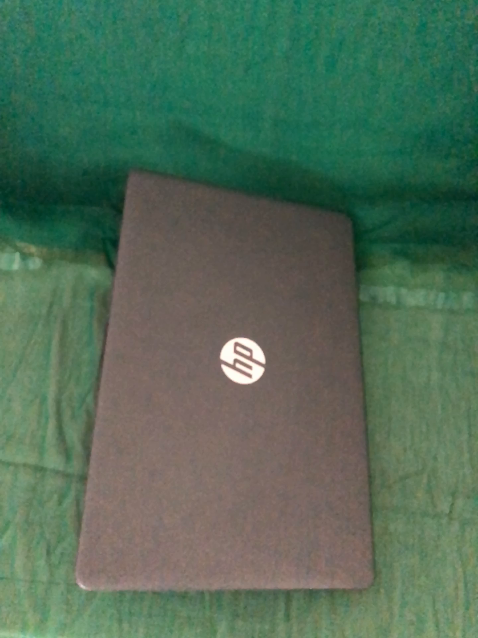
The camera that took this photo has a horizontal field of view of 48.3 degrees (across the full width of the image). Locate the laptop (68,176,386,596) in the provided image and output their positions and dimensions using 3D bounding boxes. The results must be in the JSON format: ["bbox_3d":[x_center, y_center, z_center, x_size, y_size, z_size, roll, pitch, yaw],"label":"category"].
[{"bbox_3d":[-0.002,0.044,0.490,0.231,0.067,0.360,4,66,-2],"label":"laptop"}]
